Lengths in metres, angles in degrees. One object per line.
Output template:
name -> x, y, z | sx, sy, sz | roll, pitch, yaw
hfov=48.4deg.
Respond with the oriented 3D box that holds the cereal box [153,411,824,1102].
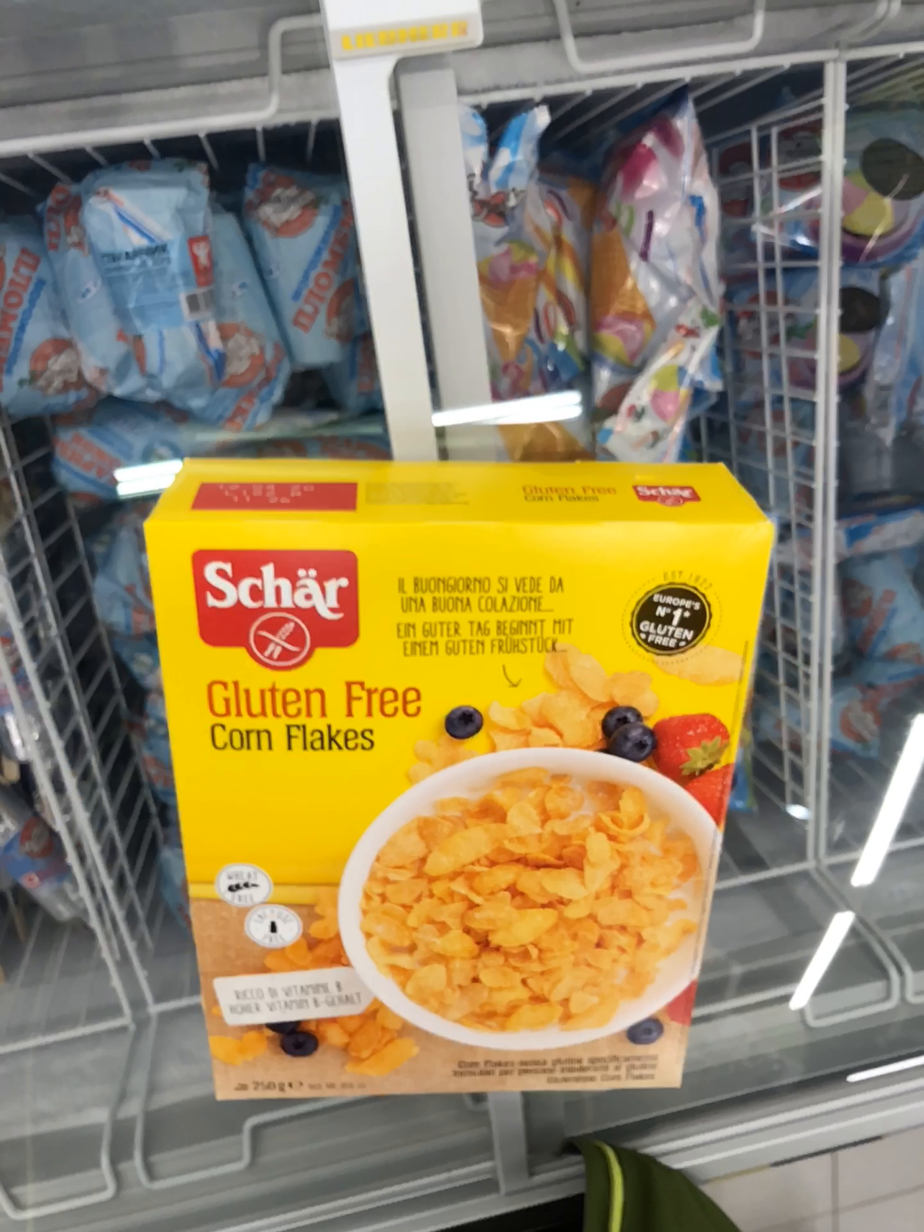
cereal box -> 0.003, 0.061, 0.399 | 0.200, 0.080, 0.261 | 0, 117, -5
